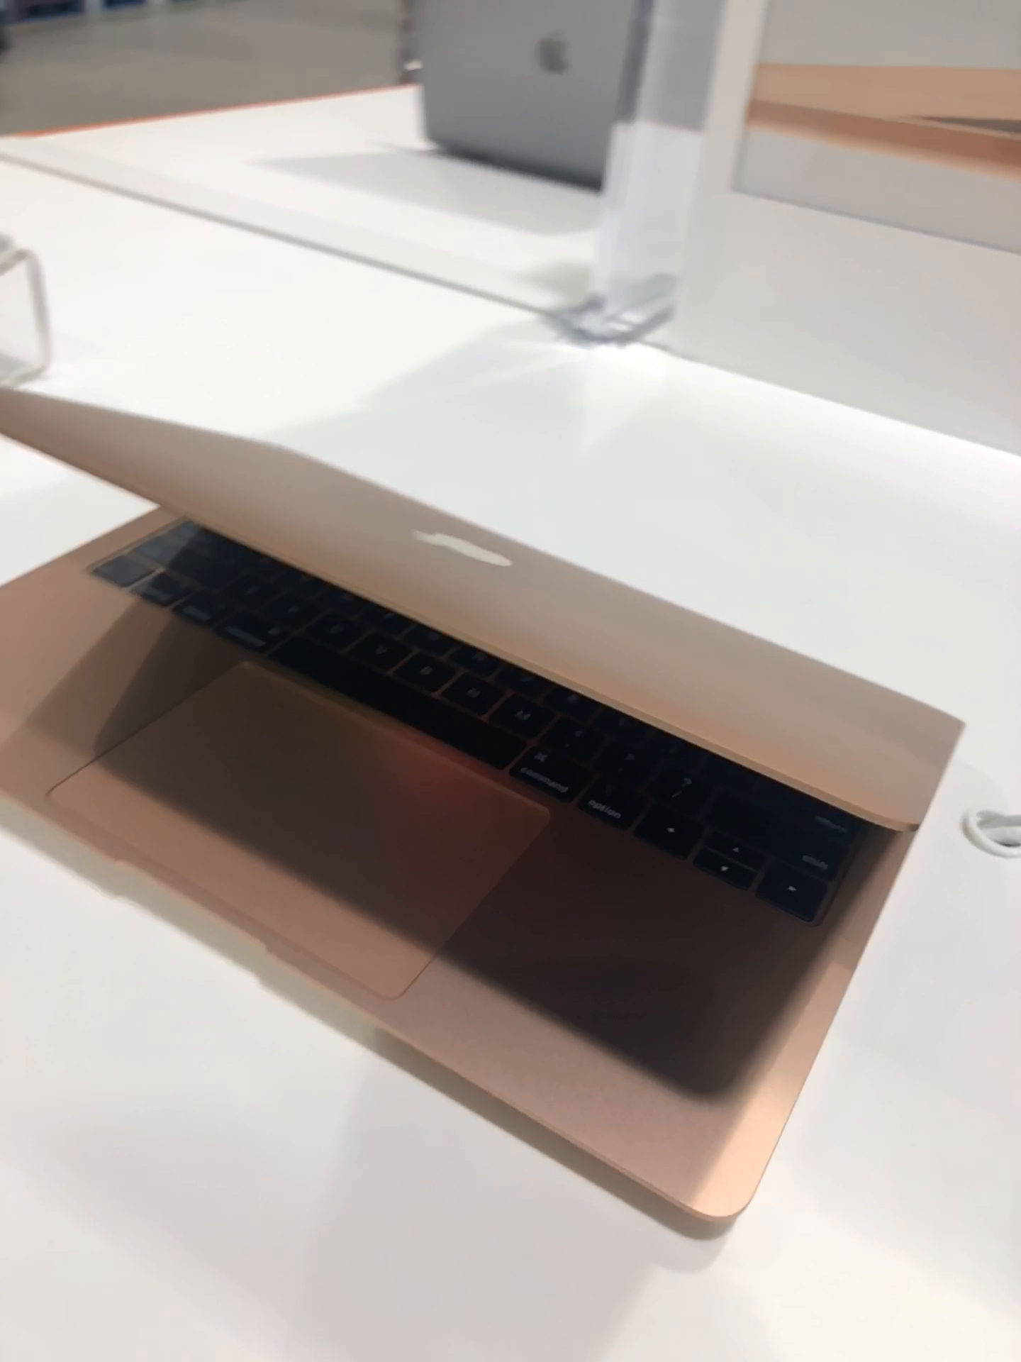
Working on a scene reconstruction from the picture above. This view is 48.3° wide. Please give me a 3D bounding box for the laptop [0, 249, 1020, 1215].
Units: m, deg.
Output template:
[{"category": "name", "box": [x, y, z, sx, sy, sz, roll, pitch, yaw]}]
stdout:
[{"category": "laptop", "box": [-0.021, -0.028, 0.343, 0.285, 0.091, 0.209, 24, 39, 21]}]
